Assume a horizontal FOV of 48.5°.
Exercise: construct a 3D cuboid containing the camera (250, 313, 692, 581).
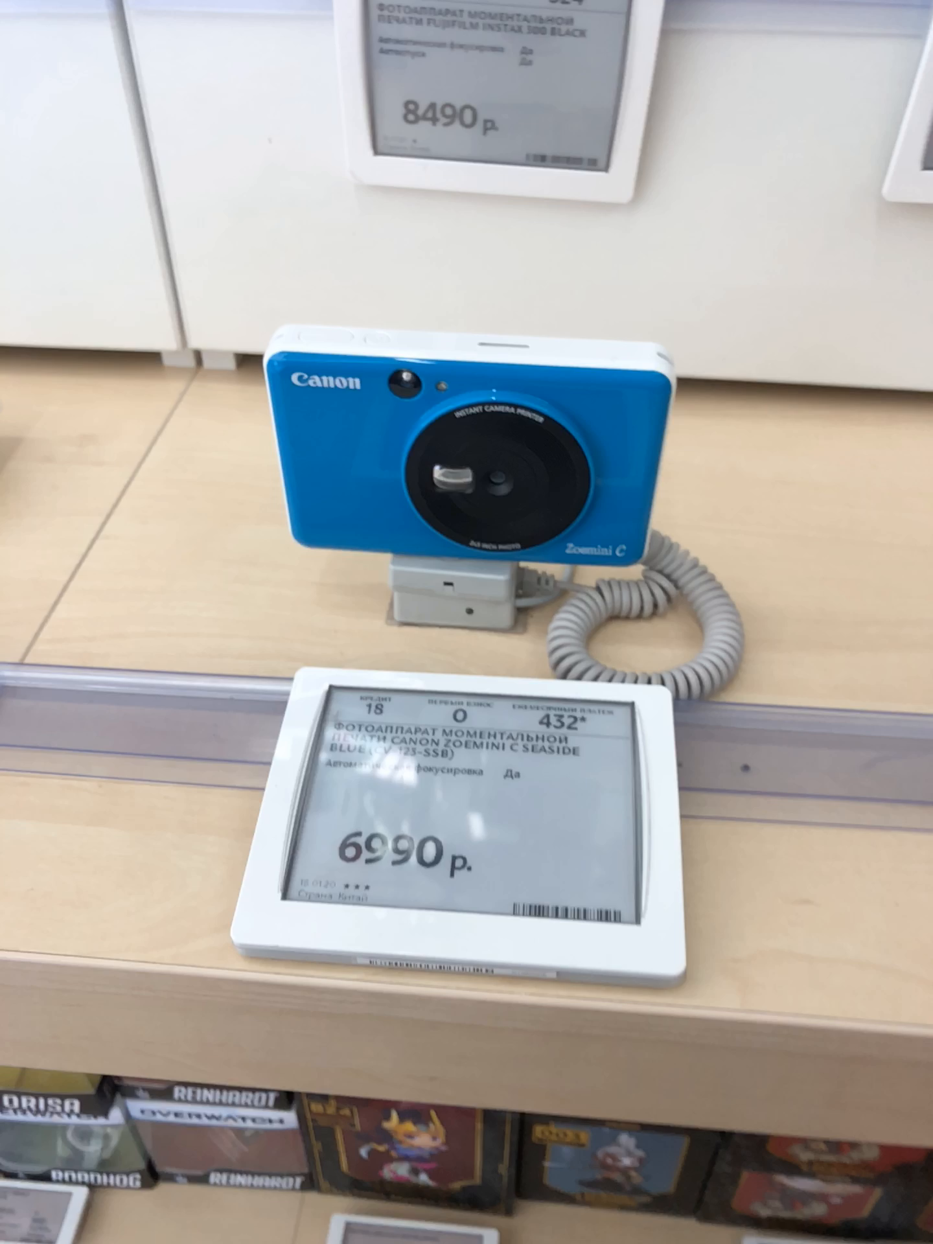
[{"bbox_3d":[0.002,-0.052,0.314,0.120,0.070,0.030,4,46,5],"label":"camera"}]
